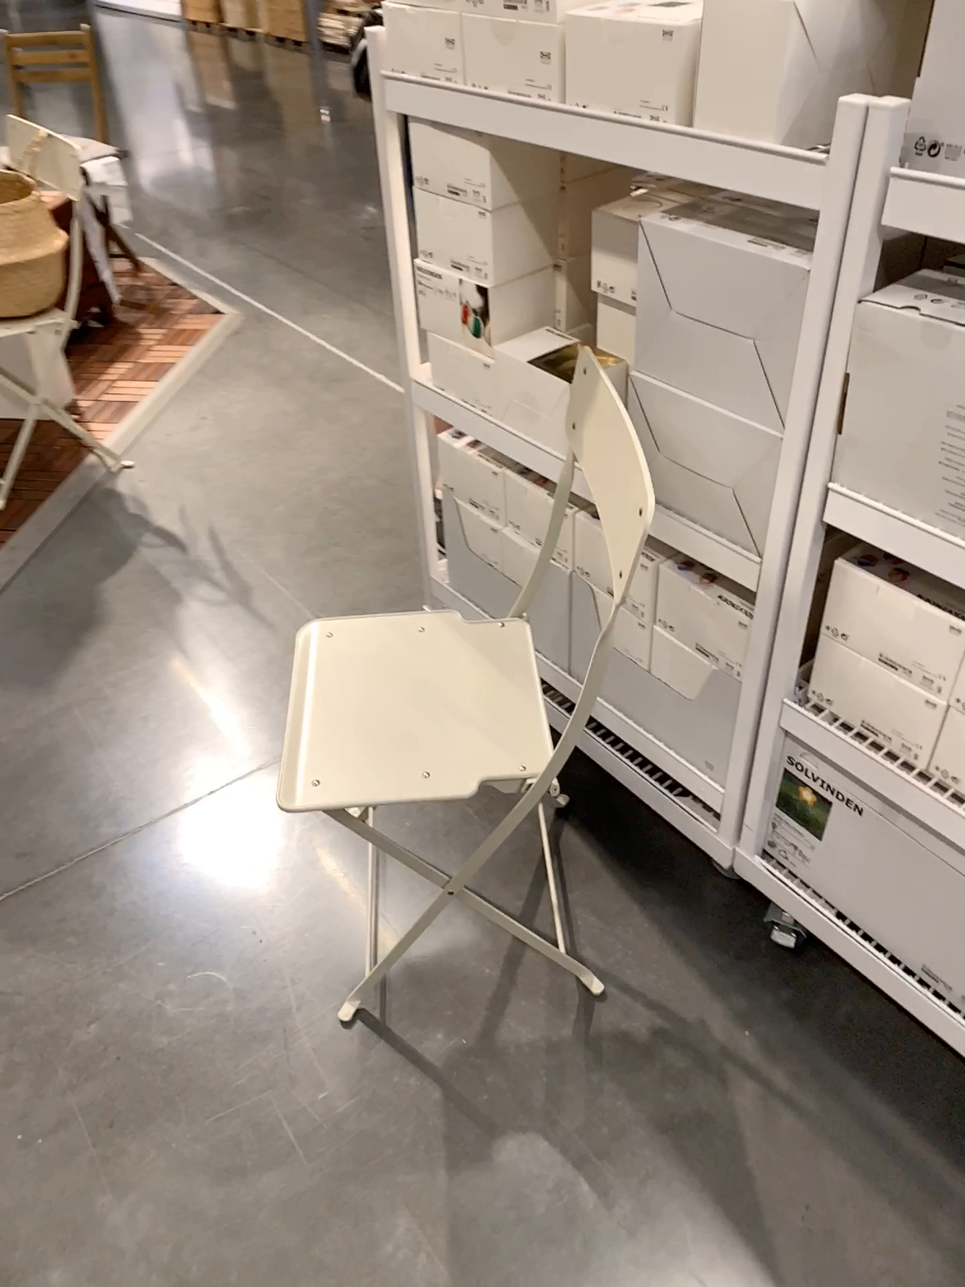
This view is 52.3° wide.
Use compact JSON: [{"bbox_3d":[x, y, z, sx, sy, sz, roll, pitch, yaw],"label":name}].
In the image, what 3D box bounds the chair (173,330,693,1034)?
[{"bbox_3d":[-0.041,0.072,1.277,0.457,0.783,0.439,-4,38,-2],"label":"chair"}]
